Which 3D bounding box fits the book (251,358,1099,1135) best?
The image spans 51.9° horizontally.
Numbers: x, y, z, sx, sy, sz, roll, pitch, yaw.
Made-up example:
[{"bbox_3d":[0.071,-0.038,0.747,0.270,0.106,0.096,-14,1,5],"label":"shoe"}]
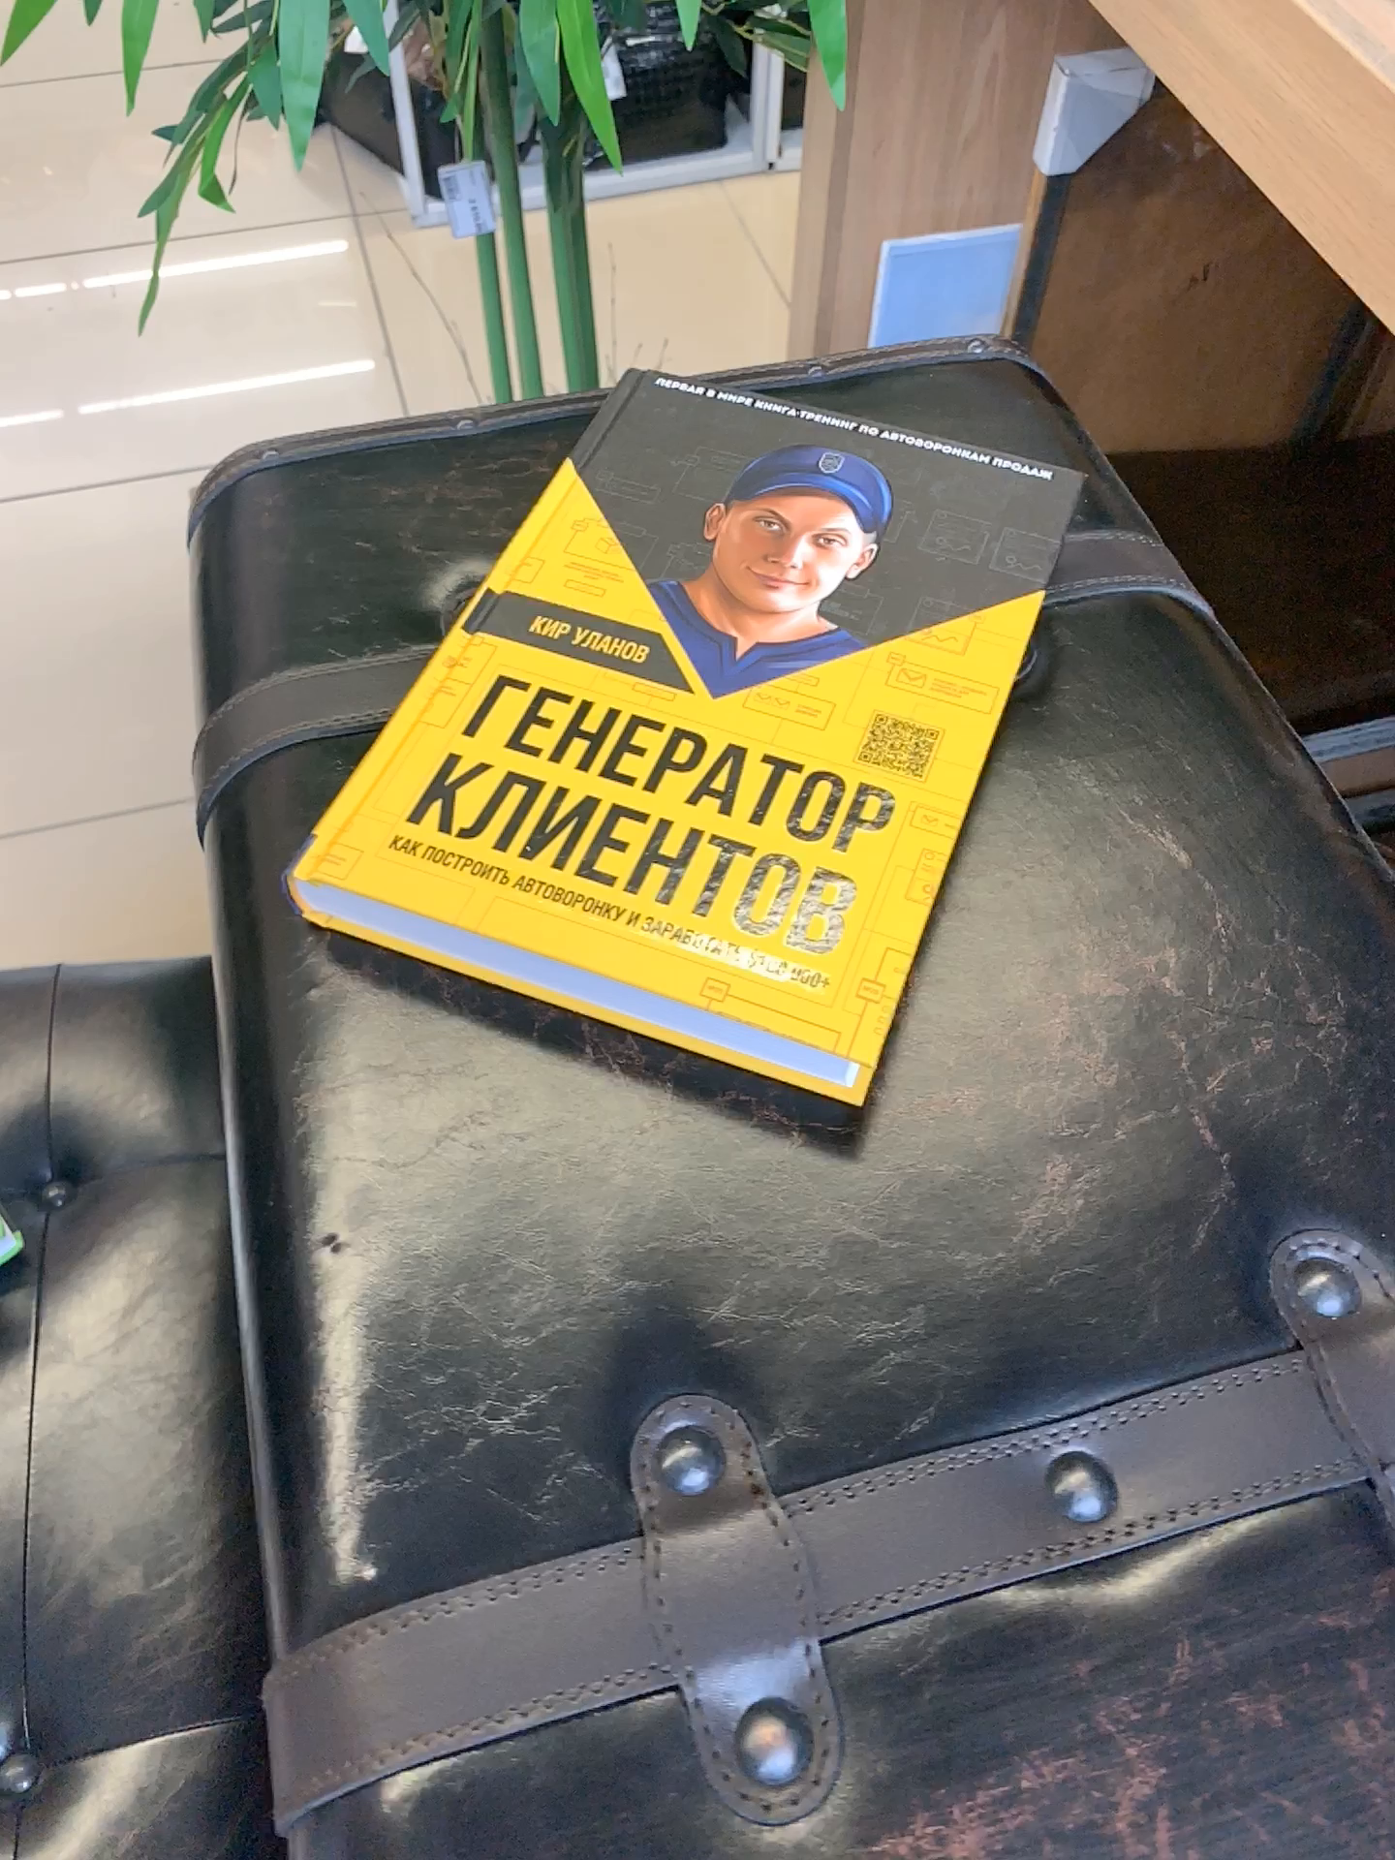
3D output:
[{"bbox_3d":[0.008,-0.074,0.426,0.167,0.030,0.243,18,56,12],"label":"book"}]
